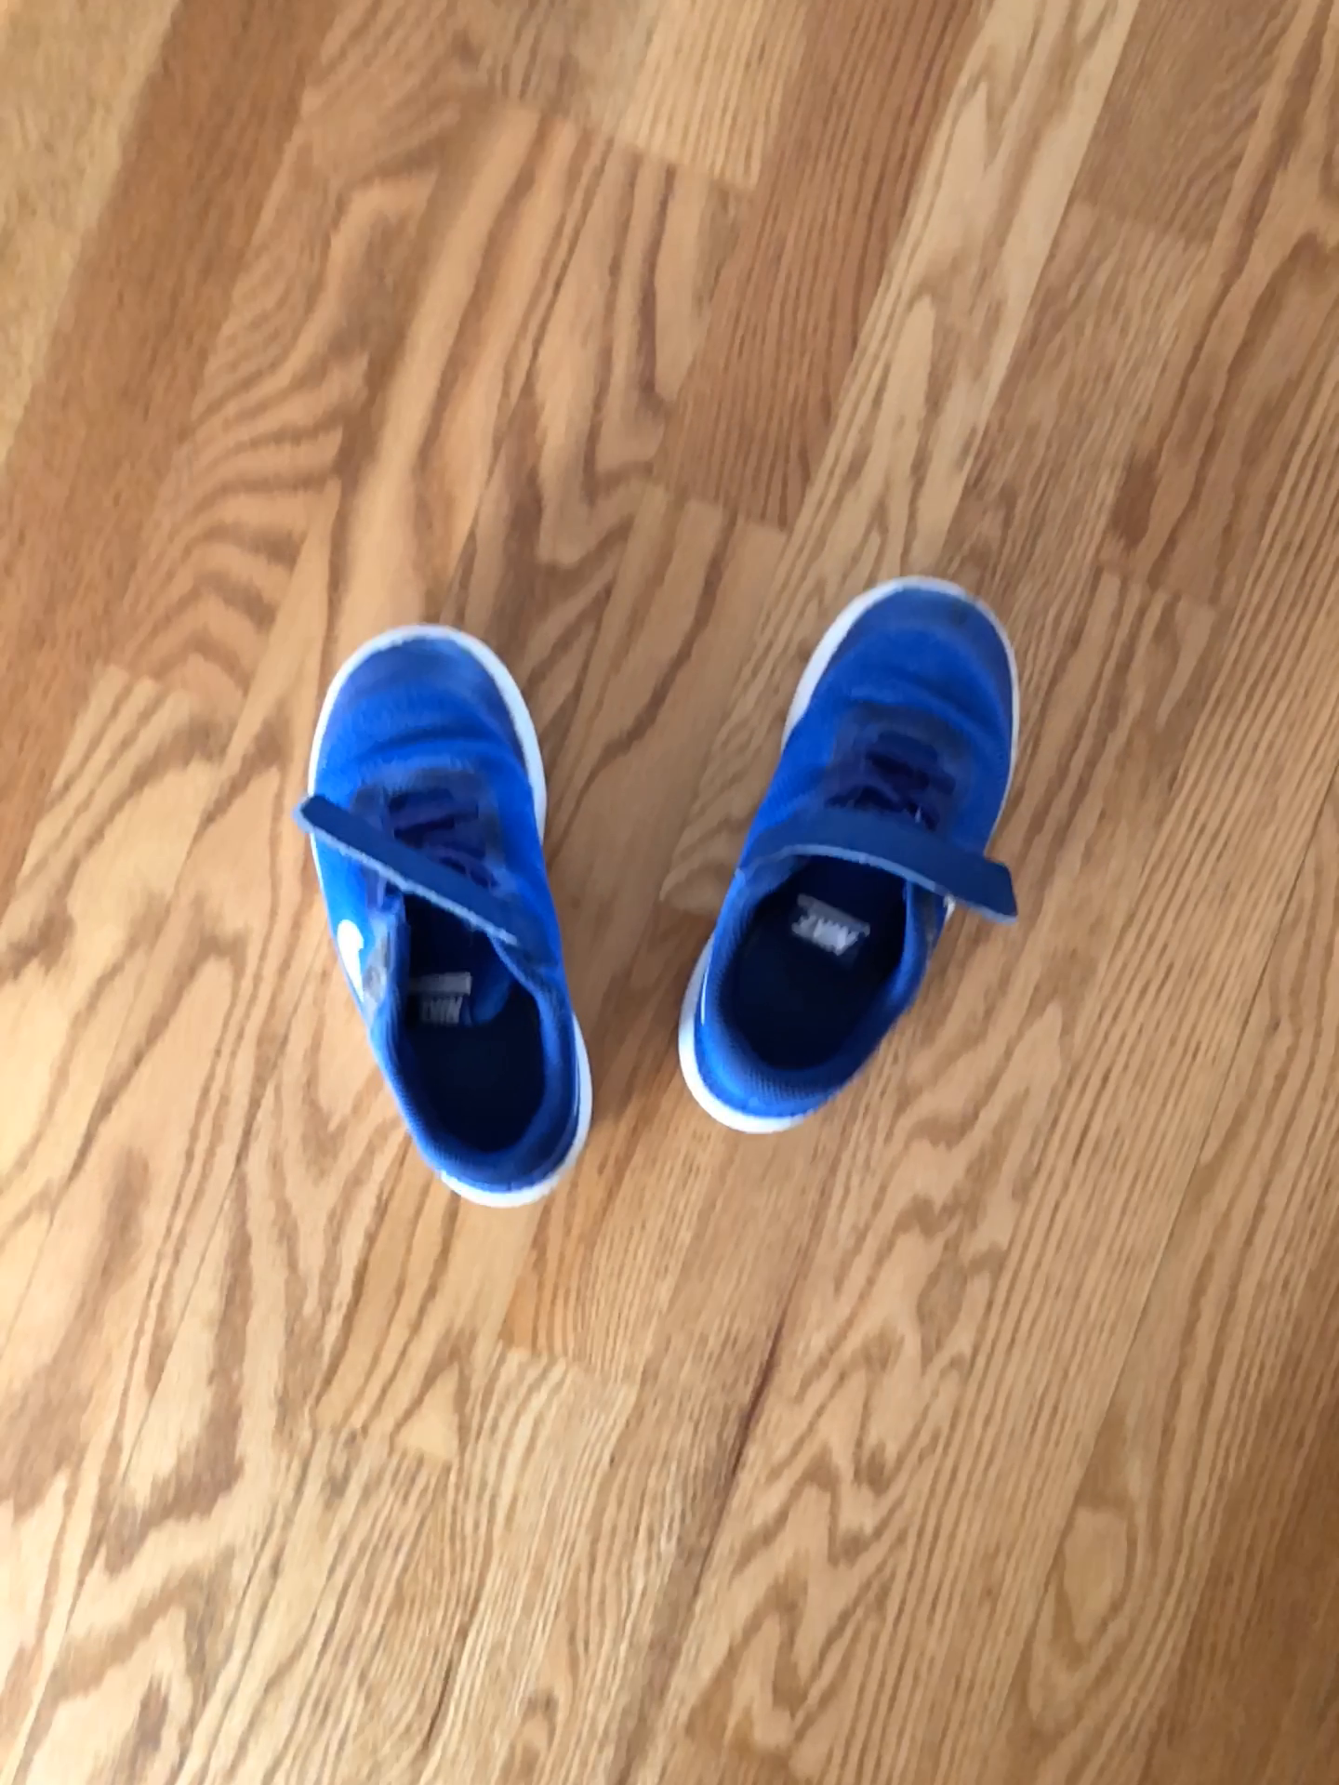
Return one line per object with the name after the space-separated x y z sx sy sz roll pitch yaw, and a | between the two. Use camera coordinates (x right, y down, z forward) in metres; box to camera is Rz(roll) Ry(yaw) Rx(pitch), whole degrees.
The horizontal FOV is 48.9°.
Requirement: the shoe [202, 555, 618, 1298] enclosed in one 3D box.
-0.081 0.011 0.494 0.093 0.092 0.214 -9 89 -2 | shoe

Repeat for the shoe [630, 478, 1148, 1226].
0.068 -0.012 0.505 0.093 0.092 0.214 21 88 -1 | shoe
